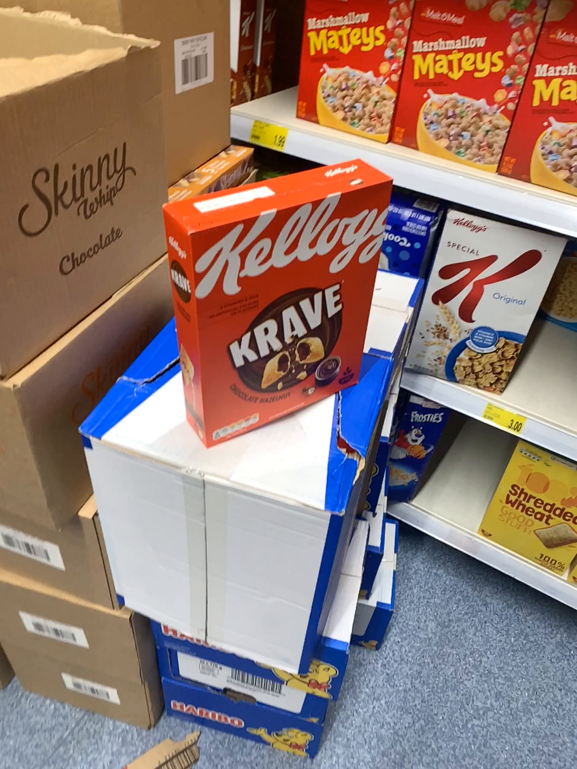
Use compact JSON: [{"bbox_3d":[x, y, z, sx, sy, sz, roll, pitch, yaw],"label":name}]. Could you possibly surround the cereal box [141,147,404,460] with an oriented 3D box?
[{"bbox_3d":[-0.014,-0.068,0.531,0.201,0.238,0.060,-22,49,-26],"label":"cereal box"}]
